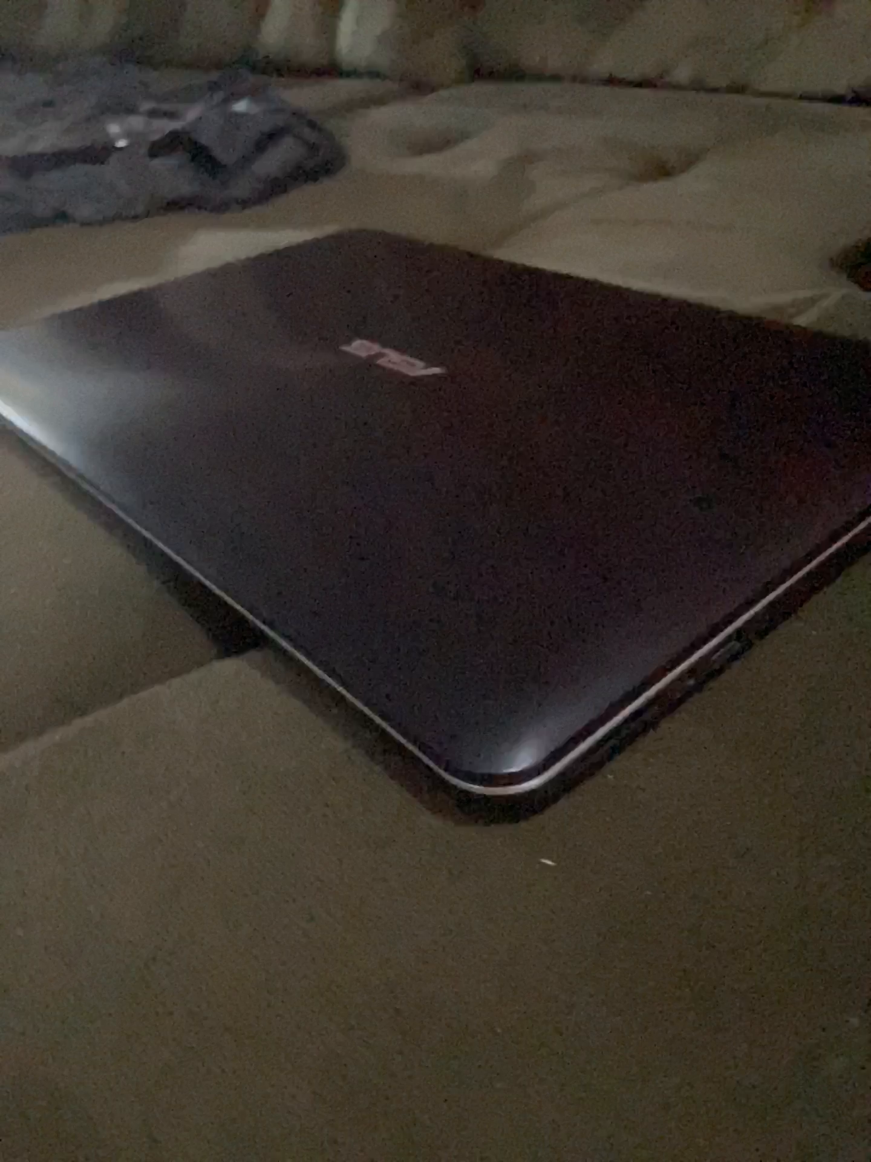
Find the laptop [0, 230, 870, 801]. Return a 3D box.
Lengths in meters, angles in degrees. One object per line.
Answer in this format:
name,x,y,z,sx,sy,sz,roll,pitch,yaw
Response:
laptop,-0.026,-0.082,0.363,0.235,0.004,0.371,-30,42,-29
